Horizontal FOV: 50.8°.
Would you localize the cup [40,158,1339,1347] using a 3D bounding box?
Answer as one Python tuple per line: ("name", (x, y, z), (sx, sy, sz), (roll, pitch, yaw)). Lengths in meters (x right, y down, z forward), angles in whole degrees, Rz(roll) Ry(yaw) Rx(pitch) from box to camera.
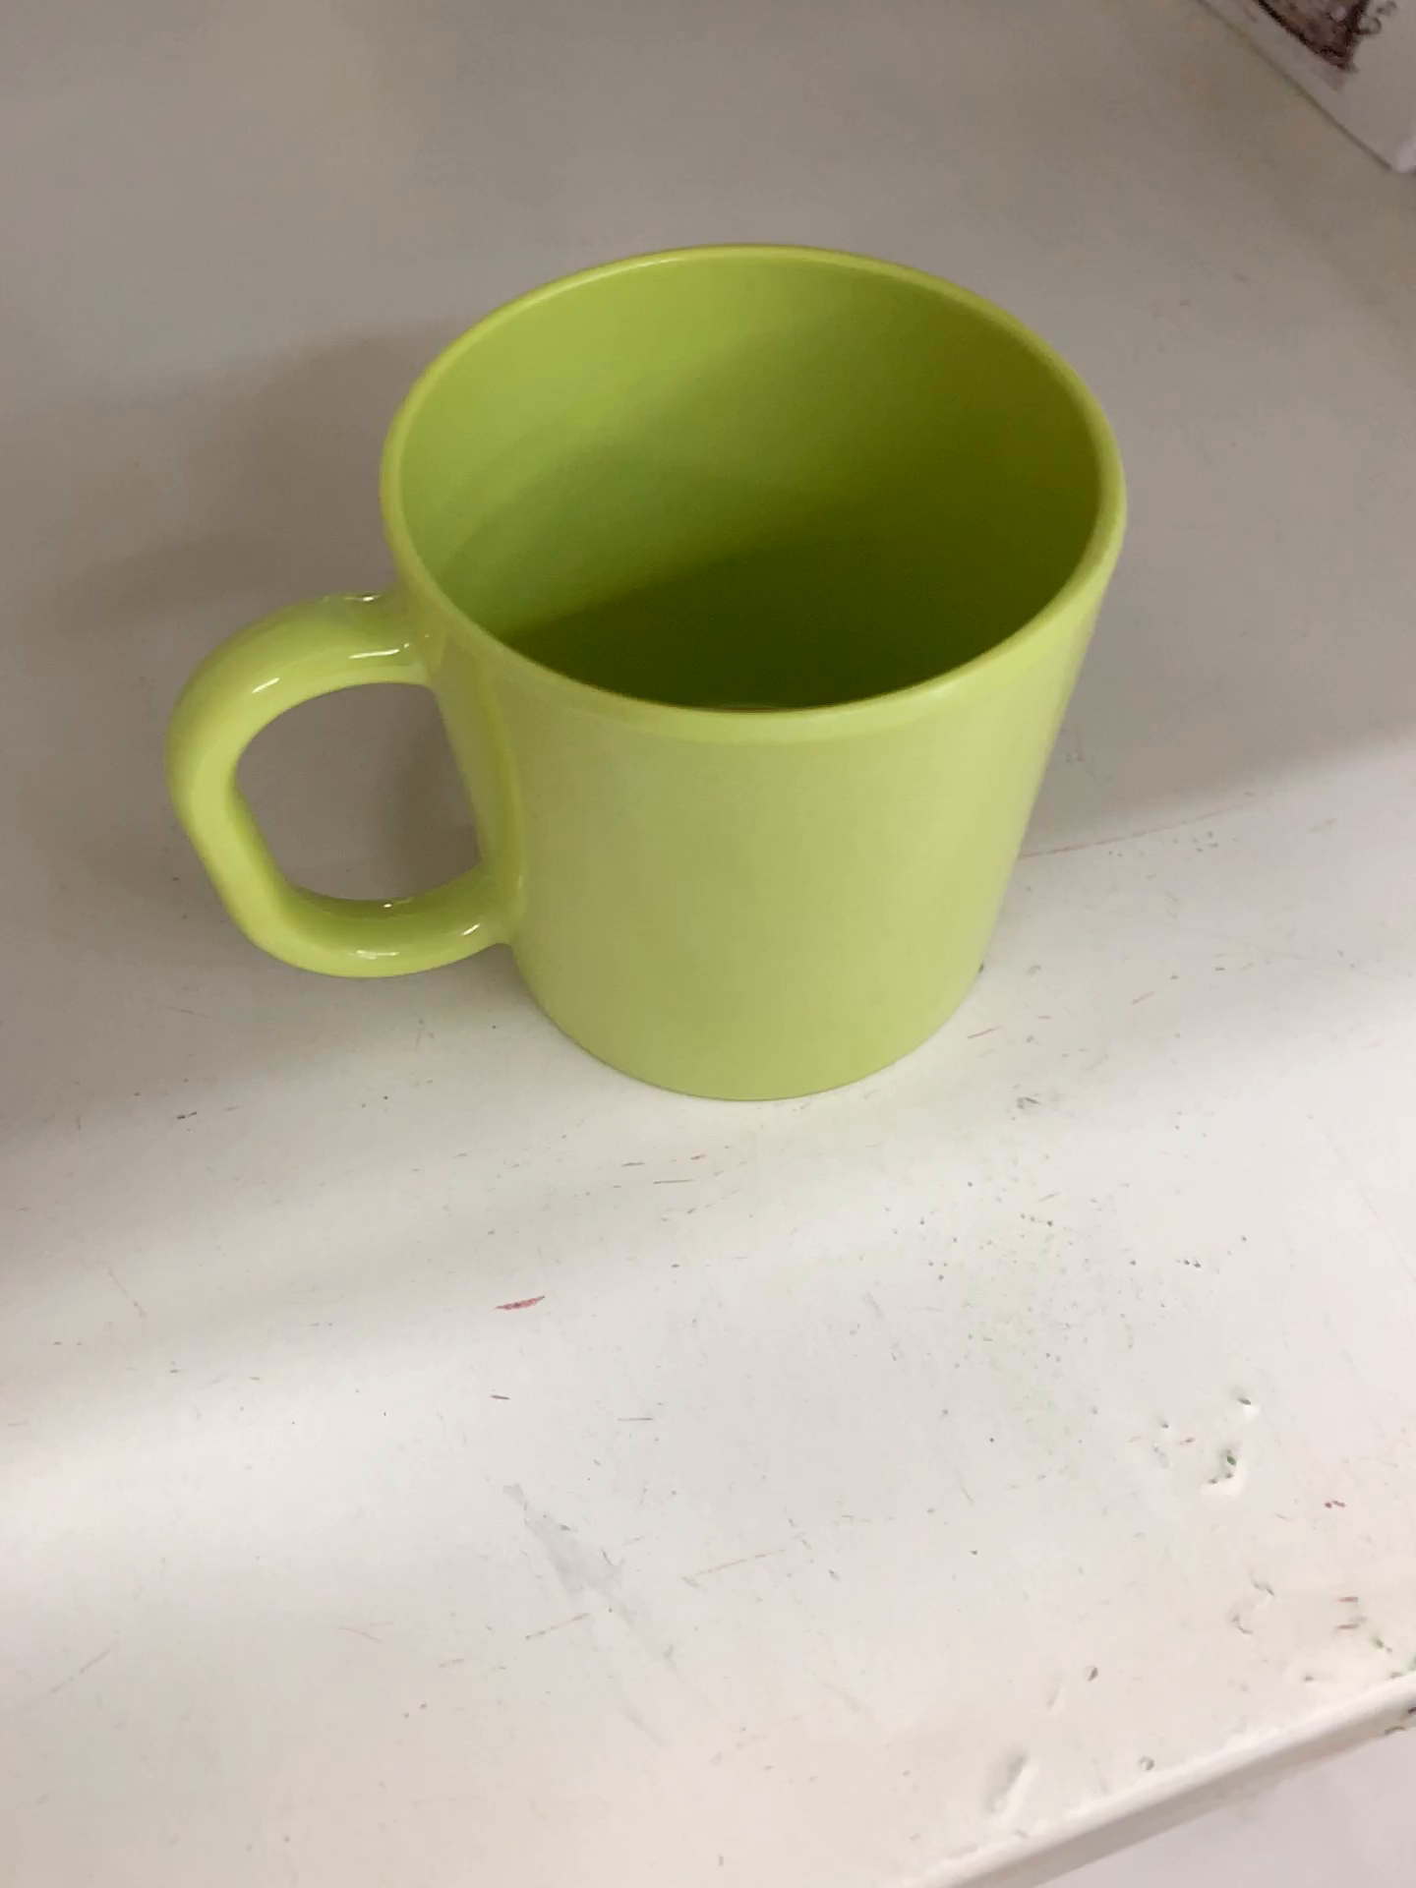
("cup", (-0.005, -0.022, 0.157), (0.089, 0.063, 0.078), (-23, 57, -14))
